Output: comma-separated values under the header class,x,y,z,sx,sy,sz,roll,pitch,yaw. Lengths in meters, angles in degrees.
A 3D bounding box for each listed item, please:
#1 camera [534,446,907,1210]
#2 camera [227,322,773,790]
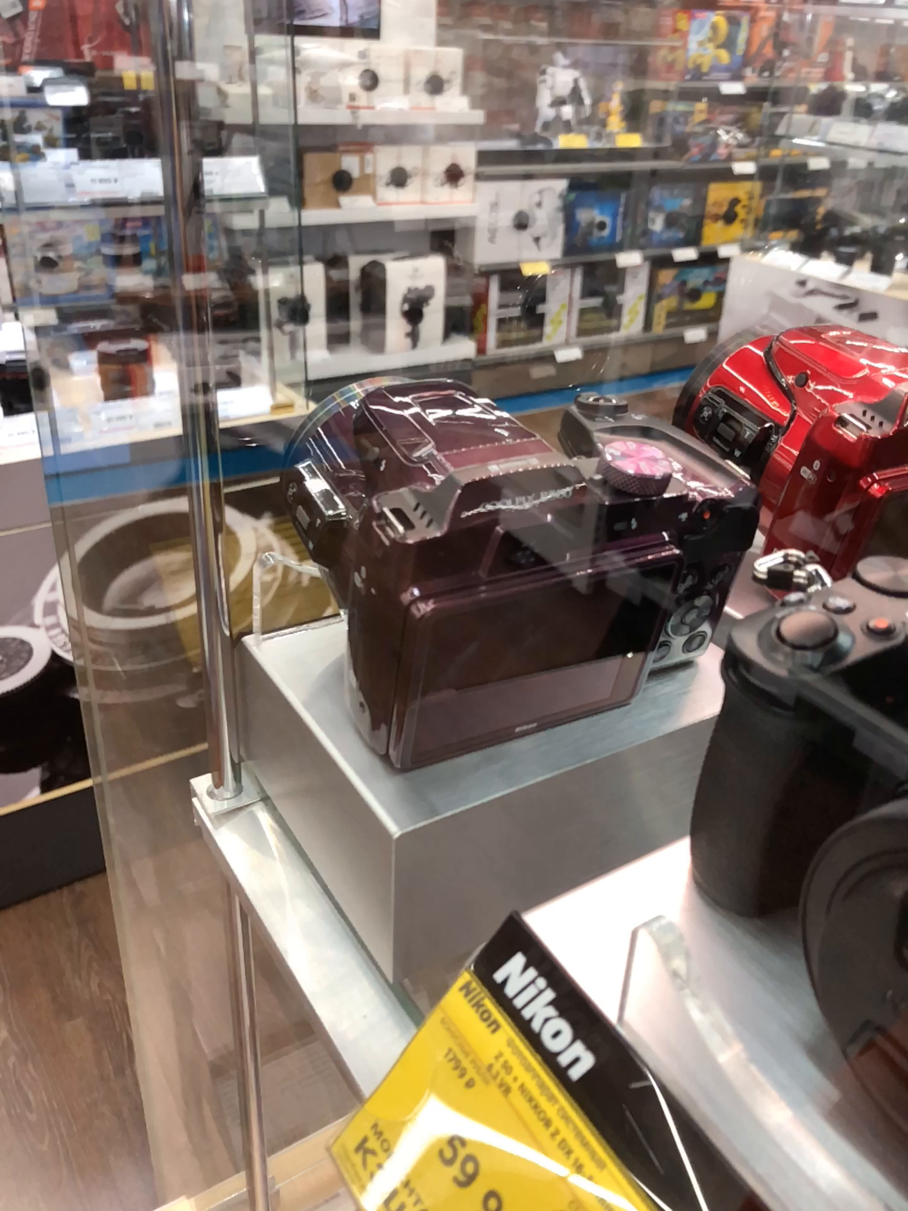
class,x,y,z,sx,sy,sz,roll,pitch,yaw
camera,0.095,0.041,0.173,0.100,0.084,0.134,-13,33,-25
camera,0.007,-0.024,0.286,0.109,0.080,0.100,-13,33,-26
